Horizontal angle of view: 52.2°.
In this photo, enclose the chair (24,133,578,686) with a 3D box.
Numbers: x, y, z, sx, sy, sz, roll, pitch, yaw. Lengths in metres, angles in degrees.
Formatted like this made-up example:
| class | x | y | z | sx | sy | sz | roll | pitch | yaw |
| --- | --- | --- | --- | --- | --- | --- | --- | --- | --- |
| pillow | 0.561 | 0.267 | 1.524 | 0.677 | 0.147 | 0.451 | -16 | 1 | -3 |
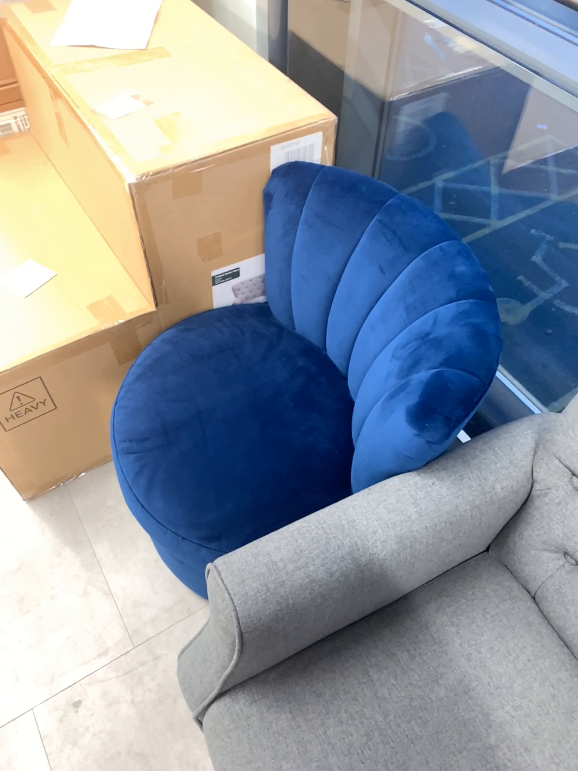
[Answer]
| class | x | y | z | sx | sy | sz | roll | pitch | yaw |
| --- | --- | --- | --- | --- | --- | --- | --- | --- | --- |
| chair | -0.019 | 0.049 | 1.156 | 0.661 | 0.674 | 0.645 | -18 | 55 | -14 |
